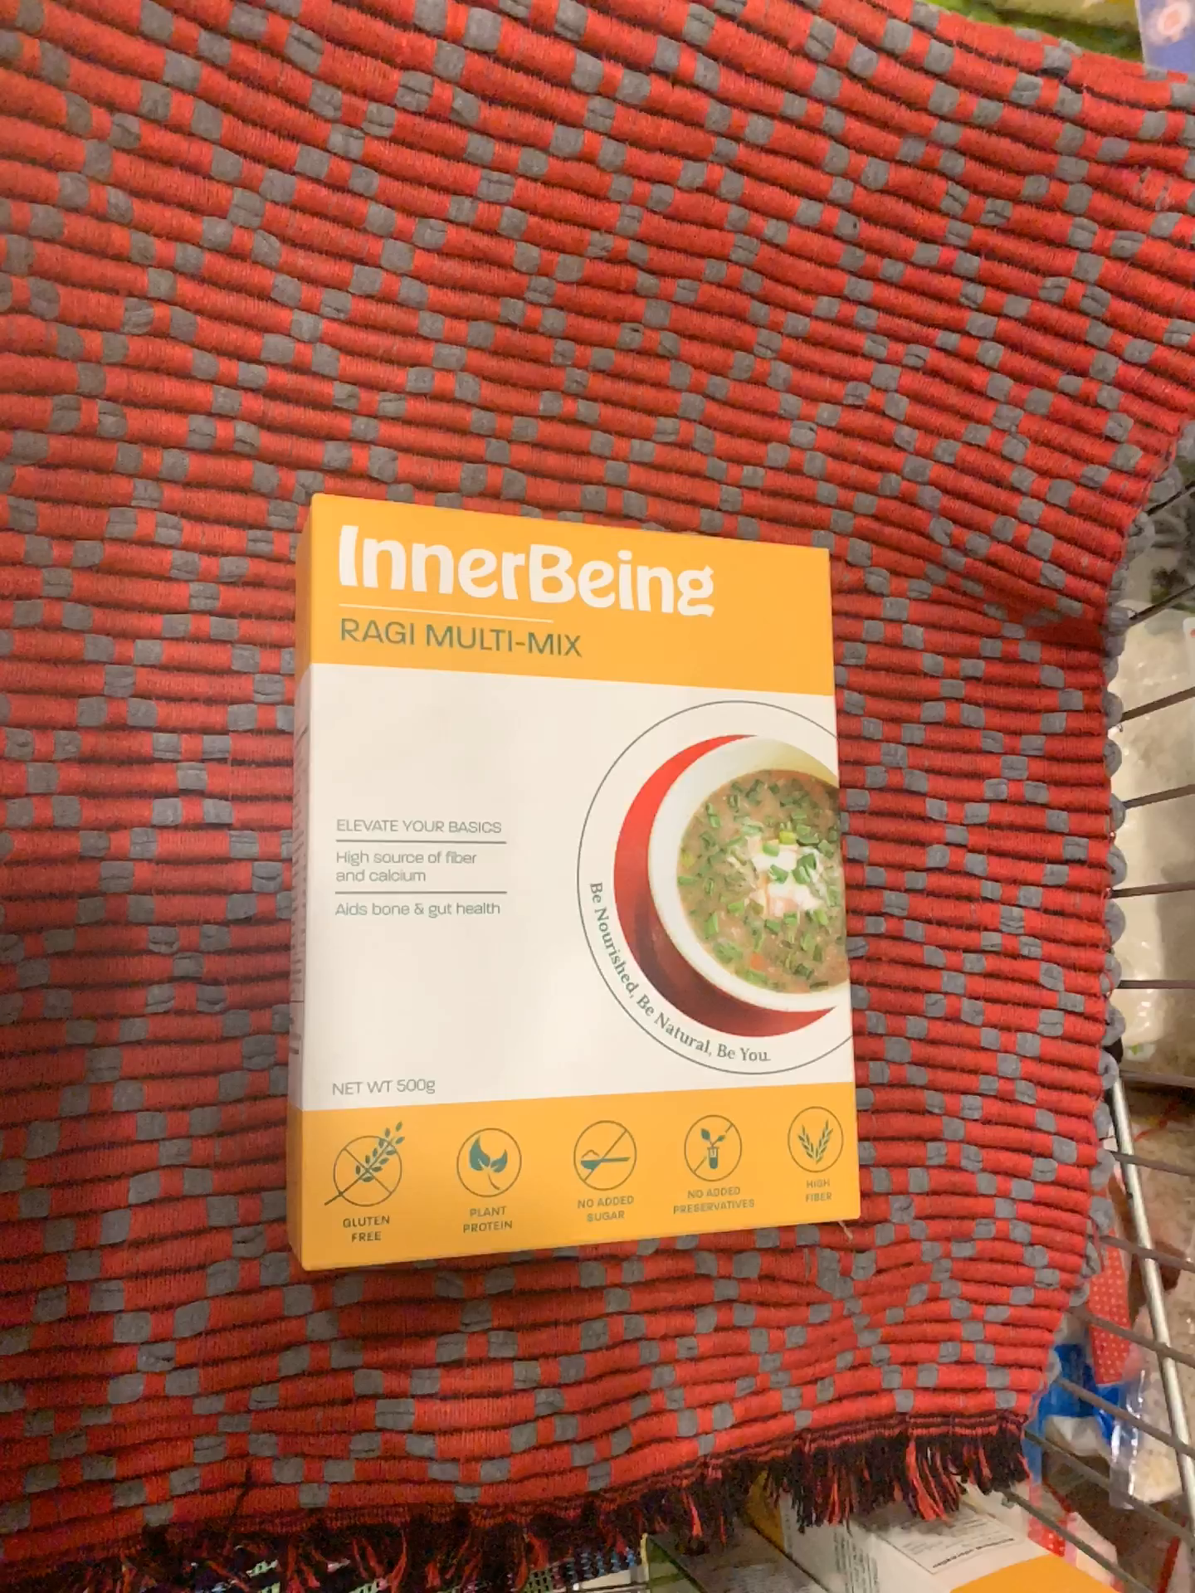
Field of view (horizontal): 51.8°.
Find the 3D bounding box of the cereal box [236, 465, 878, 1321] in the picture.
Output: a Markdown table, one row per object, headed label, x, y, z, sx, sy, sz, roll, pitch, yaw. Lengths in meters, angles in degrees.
| label | x | y | z | sx | sy | sz | roll | pitch | yaw |
| --- | --- | --- | --- | --- | --- | --- | --- | --- | --- |
| cereal box | -0.015 | 0.024 | 0.330 | 0.150 | 0.070 | 0.190 | 2 | 80 | -19 |
